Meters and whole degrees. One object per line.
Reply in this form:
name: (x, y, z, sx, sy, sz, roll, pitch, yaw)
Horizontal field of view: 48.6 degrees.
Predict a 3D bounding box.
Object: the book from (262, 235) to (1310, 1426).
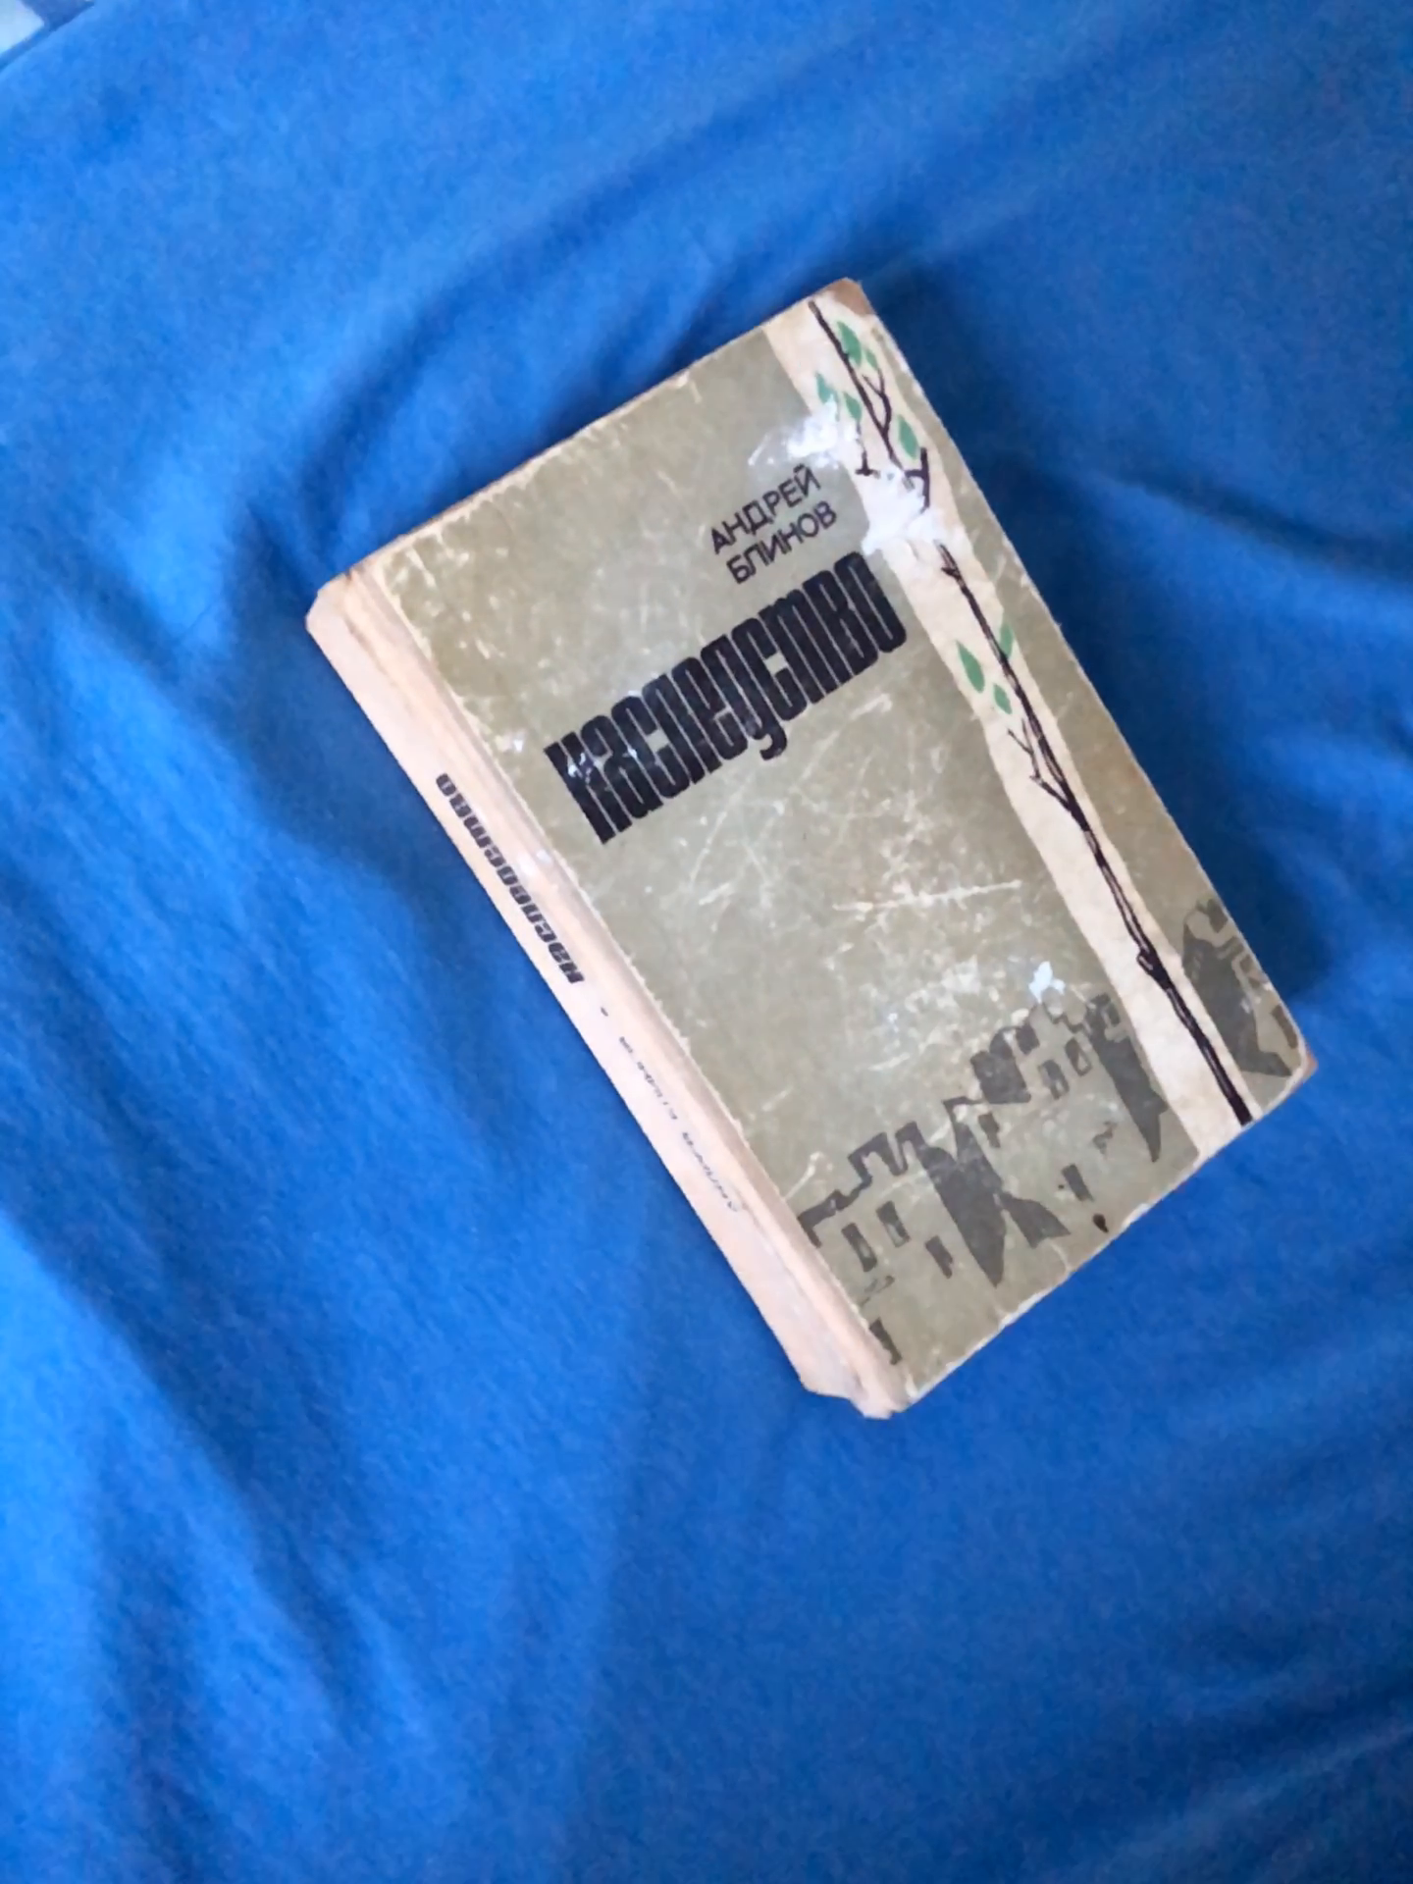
book: (0.021, -0.023, 0.330, 0.130, 0.040, 0.200, -36, 98, -17)
